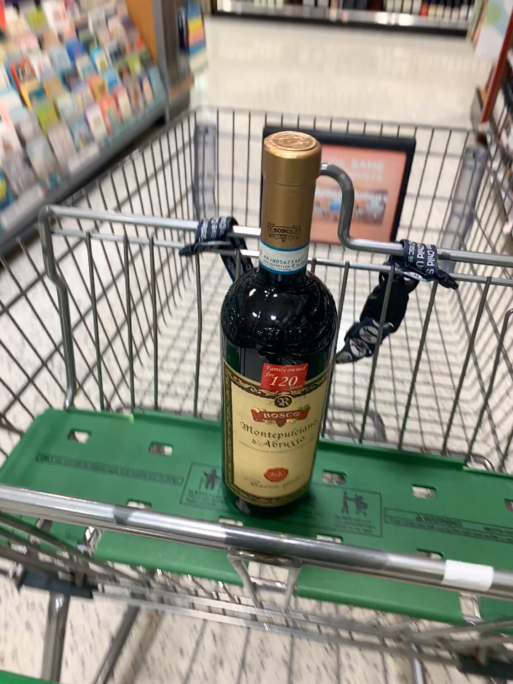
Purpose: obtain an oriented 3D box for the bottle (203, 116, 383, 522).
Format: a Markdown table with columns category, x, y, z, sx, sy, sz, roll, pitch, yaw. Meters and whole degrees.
| category | x | y | z | sx | sy | sz | roll | pitch | yaw |
| --- | --- | --- | --- | --- | --- | --- | --- | --- | --- |
| bottle | 0.011 | 0.007 | 0.353 | 0.080 | 0.277 | 0.081 | 1 | 40 | -1 |
